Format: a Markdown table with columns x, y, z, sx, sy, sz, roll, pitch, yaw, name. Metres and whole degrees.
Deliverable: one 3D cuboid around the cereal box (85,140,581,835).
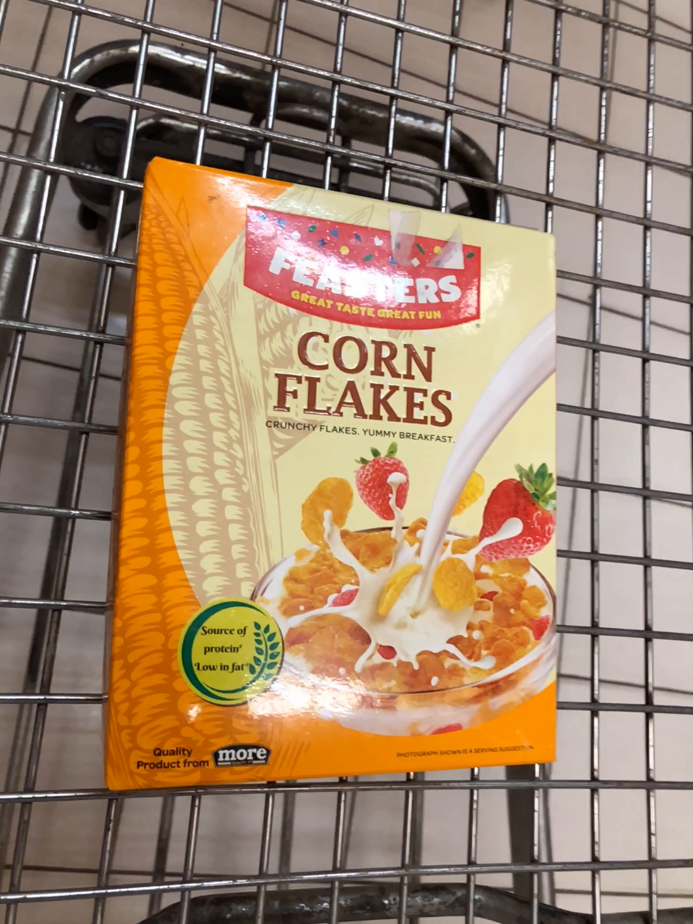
| x | y | z | sx | sy | sz | roll | pitch | yaw | name |
| --- | --- | --- | --- | --- | --- | --- | --- | --- | --- |
| -0.003 | 0.010 | 0.250 | 0.140 | 0.060 | 0.180 | 5 | 83 | -18 | cereal box |
